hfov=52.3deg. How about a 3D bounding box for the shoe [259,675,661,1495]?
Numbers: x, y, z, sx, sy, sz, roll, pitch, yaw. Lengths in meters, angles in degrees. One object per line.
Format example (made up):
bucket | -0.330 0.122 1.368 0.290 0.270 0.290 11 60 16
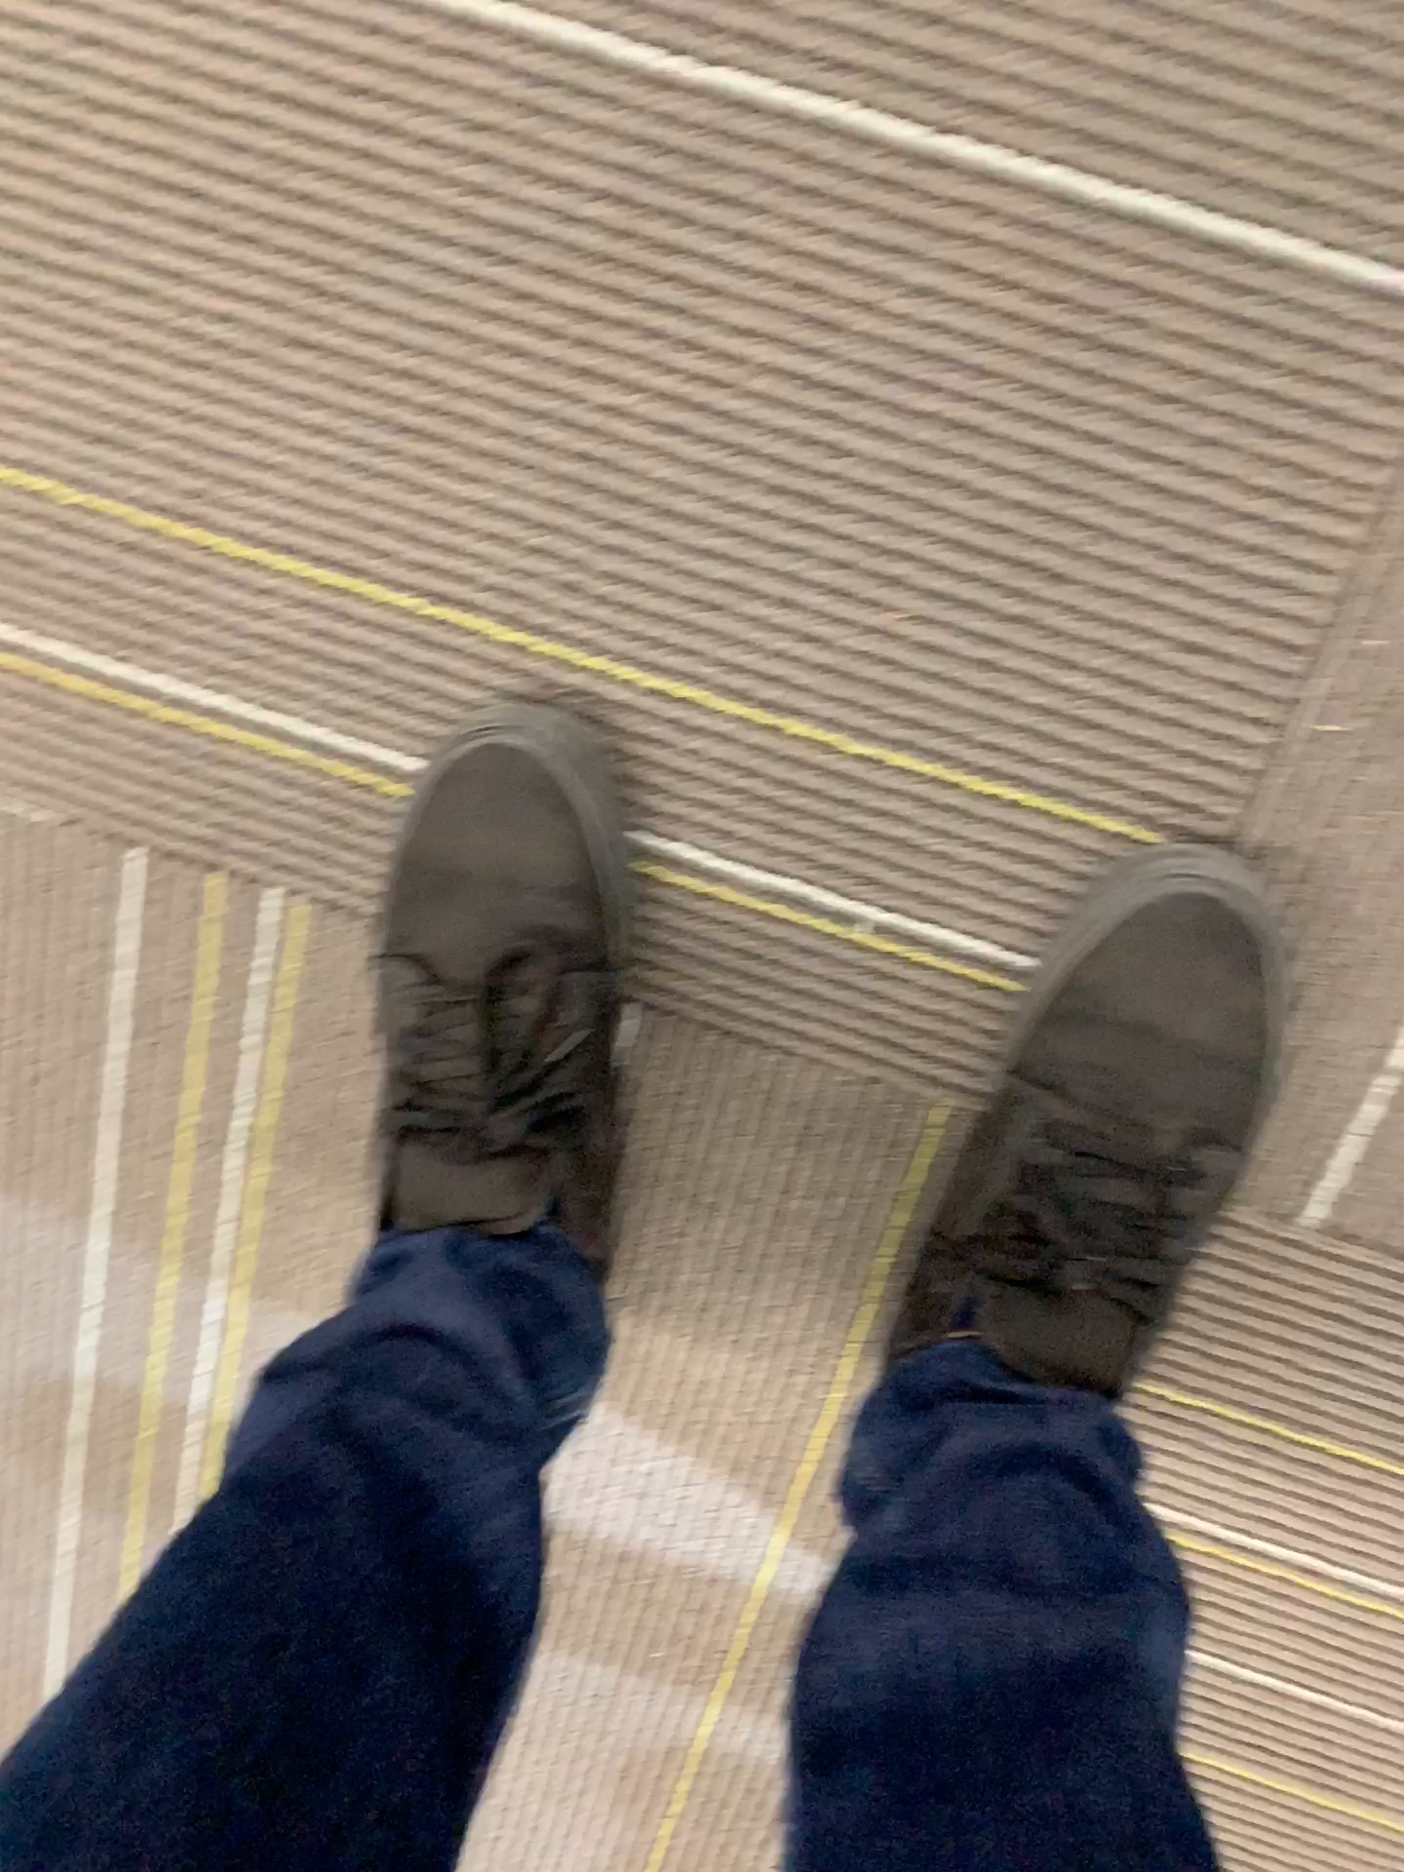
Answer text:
shoe | -0.082 0.058 0.559 0.109 0.113 0.292 5 113 9

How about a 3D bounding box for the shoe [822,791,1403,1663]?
shoe | 0.147 0.111 0.537 0.109 0.113 0.292 18 115 3
